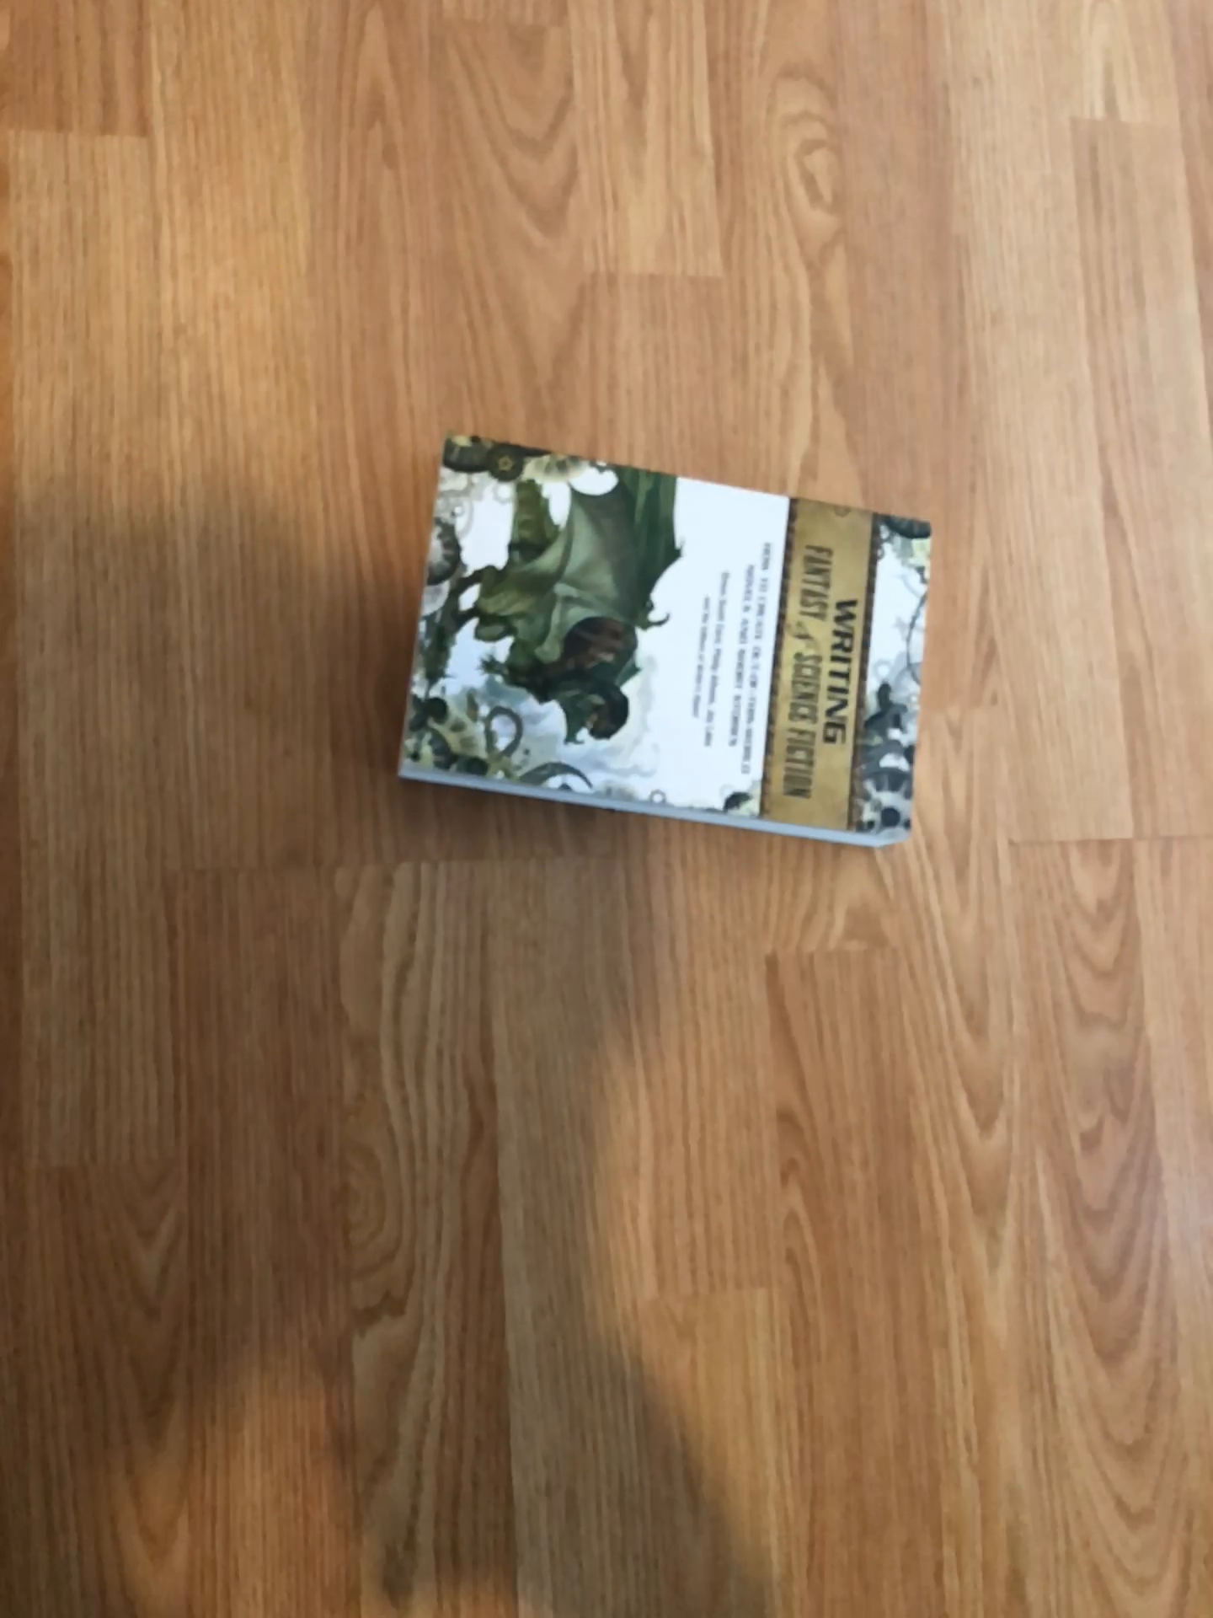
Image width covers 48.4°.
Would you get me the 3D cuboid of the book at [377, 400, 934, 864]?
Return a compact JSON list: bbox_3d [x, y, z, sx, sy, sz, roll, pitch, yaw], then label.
[{"bbox_3d":[0.025,-0.073,0.598,0.228,0.040,0.165,8,82,-12],"label":"book"}]
